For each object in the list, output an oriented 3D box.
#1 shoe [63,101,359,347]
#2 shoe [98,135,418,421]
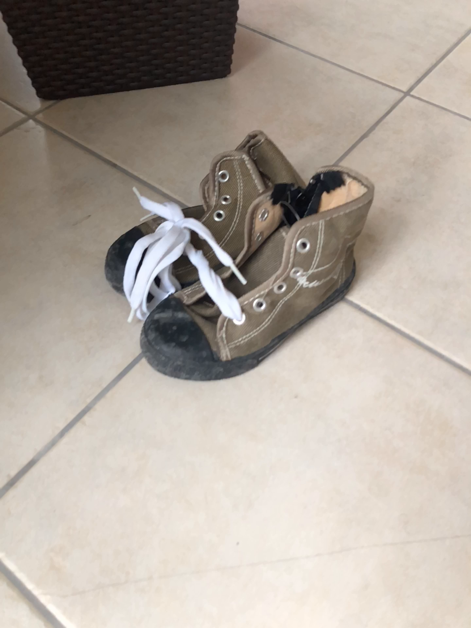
[{"bbox_3d":[-0.015,-0.074,0.417,0.200,0.110,0.080,-25,59,-18],"label":"shoe"},{"bbox_3d":[0.019,-0.029,0.379,0.201,0.110,0.080,-30,61,-21],"label":"shoe"}]
